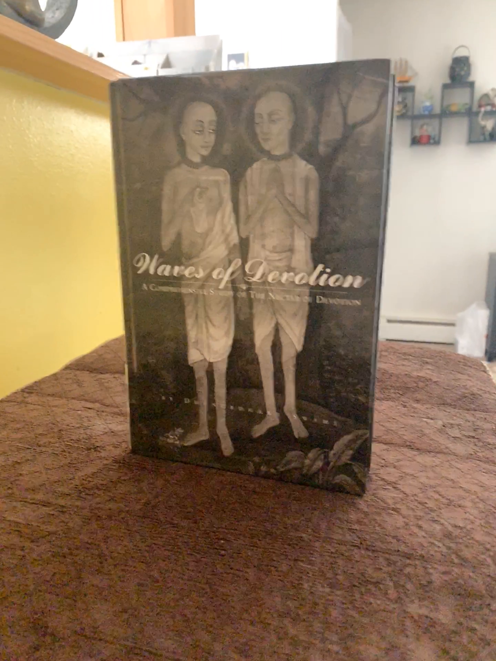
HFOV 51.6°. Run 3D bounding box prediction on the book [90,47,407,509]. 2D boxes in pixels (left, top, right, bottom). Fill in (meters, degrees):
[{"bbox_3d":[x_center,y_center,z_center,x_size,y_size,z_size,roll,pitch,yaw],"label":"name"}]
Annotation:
[{"bbox_3d":[-0.001,-0.024,0.296,0.160,0.229,0.040,5,17,20],"label":"book"}]
